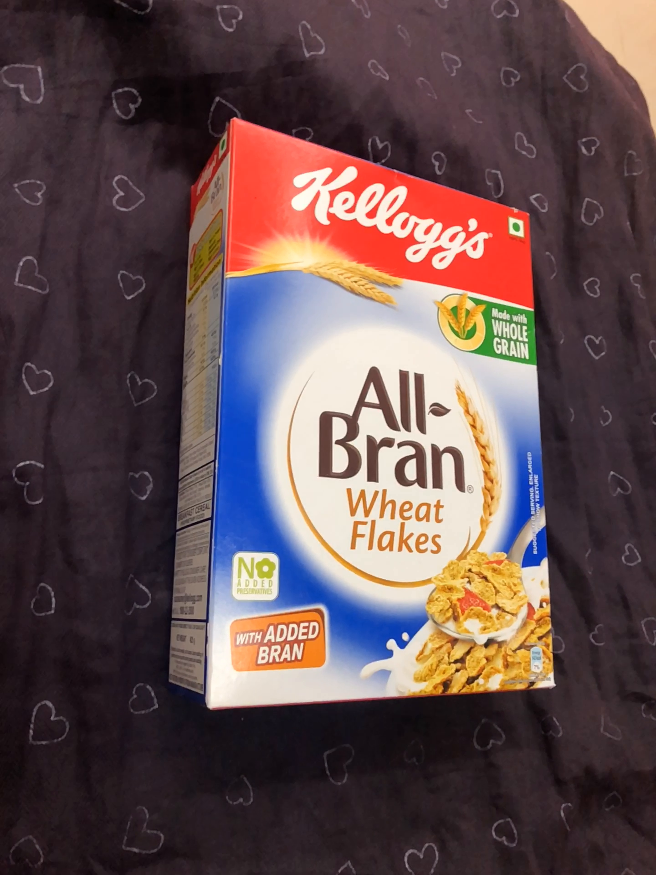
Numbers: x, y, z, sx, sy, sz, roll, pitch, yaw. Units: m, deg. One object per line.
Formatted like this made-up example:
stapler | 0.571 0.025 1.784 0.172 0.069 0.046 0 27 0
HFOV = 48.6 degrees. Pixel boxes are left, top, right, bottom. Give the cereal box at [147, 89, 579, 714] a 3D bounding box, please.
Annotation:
cereal box | 0.022 -0.010 0.365 0.190 0.070 0.260 7 75 -27
